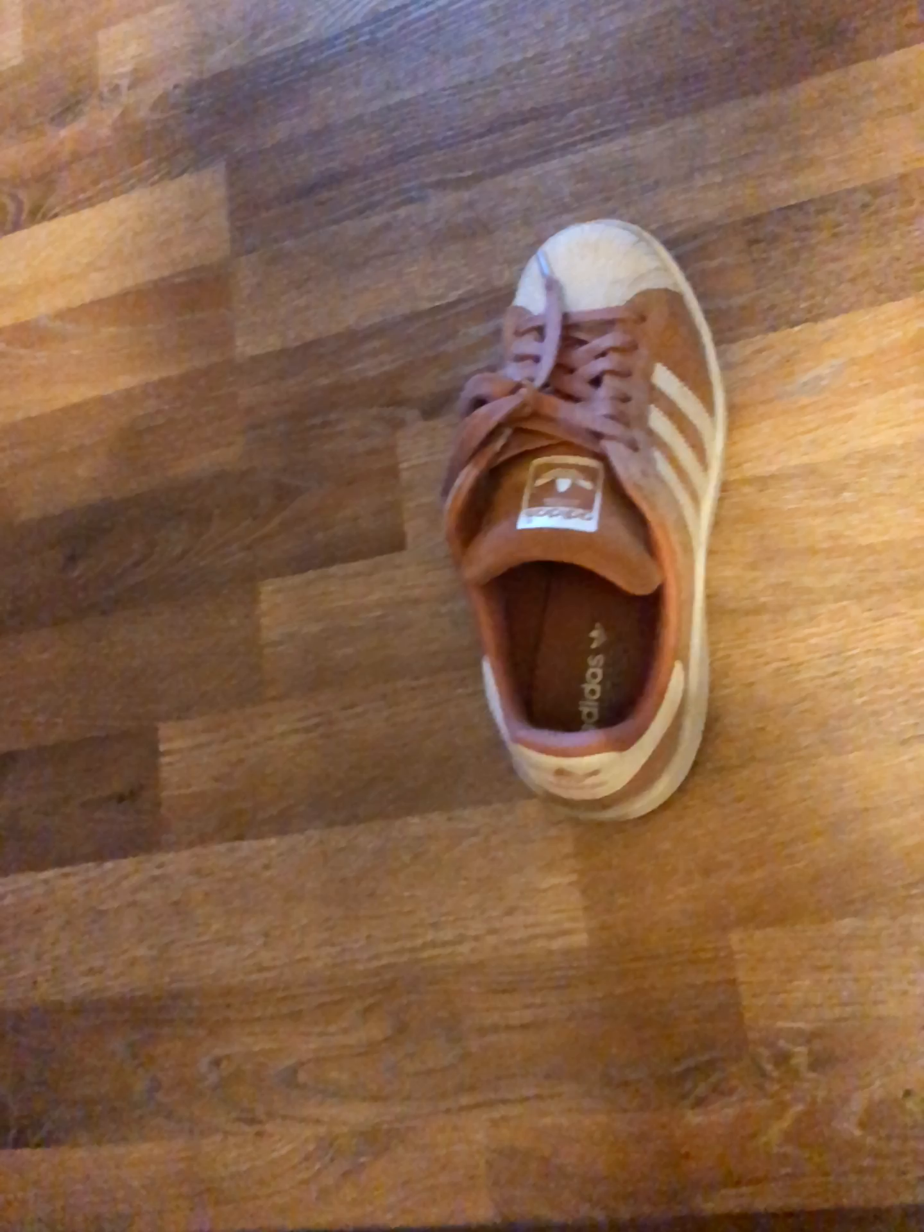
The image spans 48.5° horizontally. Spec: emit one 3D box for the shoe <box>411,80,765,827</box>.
[{"bbox_3d":[0.051,-0.052,0.408,0.110,0.110,0.260,-5,75,17],"label":"shoe"}]
